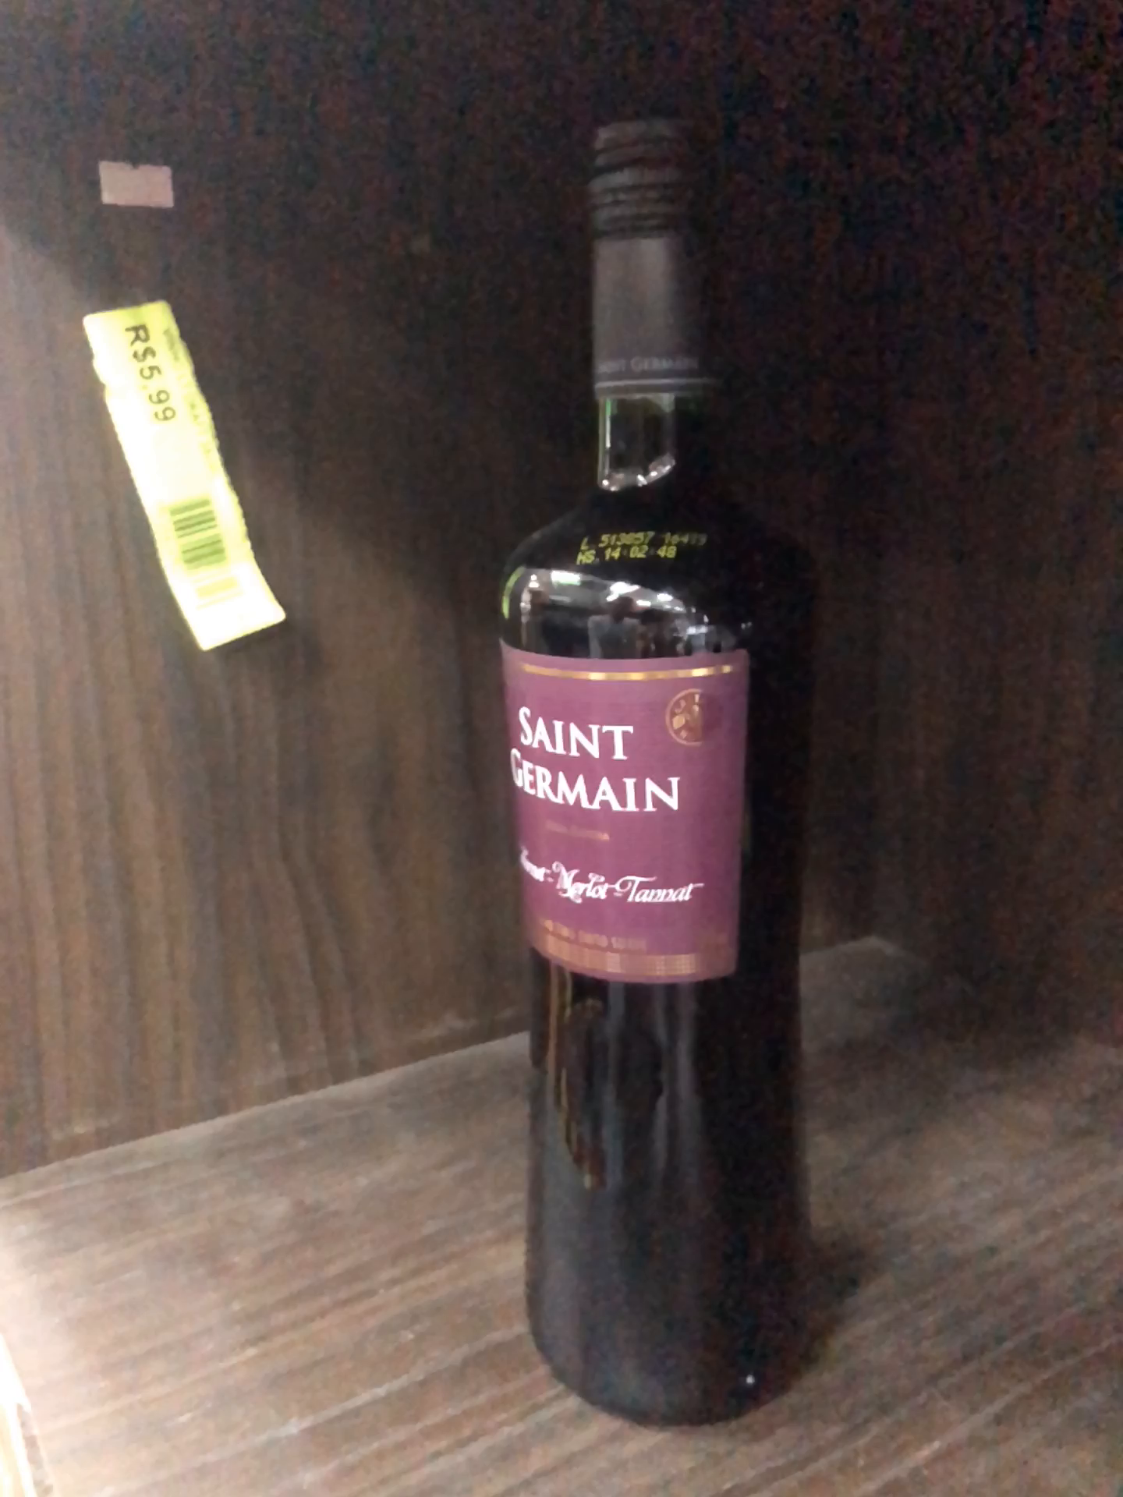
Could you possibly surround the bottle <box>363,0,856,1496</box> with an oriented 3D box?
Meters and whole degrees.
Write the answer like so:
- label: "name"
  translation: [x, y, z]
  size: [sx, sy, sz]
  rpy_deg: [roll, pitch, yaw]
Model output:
- label: "bottle"
  translation: [0.018, 0.008, 0.299]
  size: [0.080, 0.309, 0.070]
  rpy_deg: [5, 15, 30]
